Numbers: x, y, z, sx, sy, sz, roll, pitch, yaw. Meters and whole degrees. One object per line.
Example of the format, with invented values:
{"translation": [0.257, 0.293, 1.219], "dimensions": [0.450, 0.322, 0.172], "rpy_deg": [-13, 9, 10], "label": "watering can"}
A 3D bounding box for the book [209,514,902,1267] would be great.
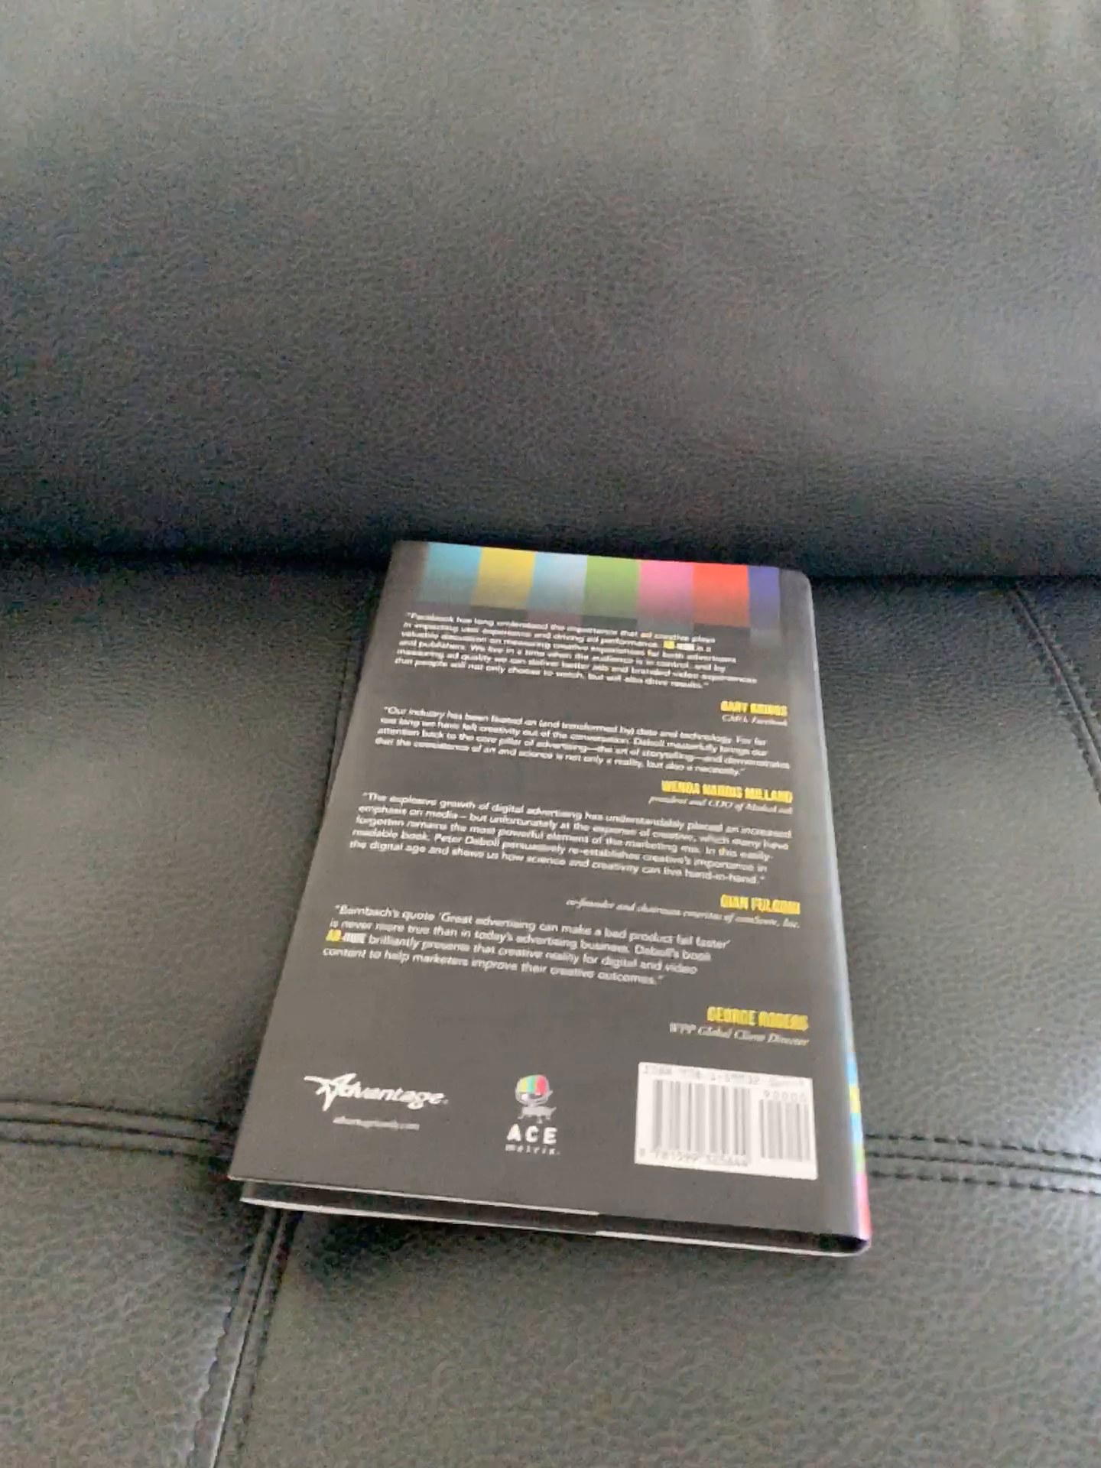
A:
{"translation": [0.010, 0.025, 0.349], "dimensions": [0.160, 0.030, 0.238], "rpy_deg": [4, 50, 2], "label": "book"}
